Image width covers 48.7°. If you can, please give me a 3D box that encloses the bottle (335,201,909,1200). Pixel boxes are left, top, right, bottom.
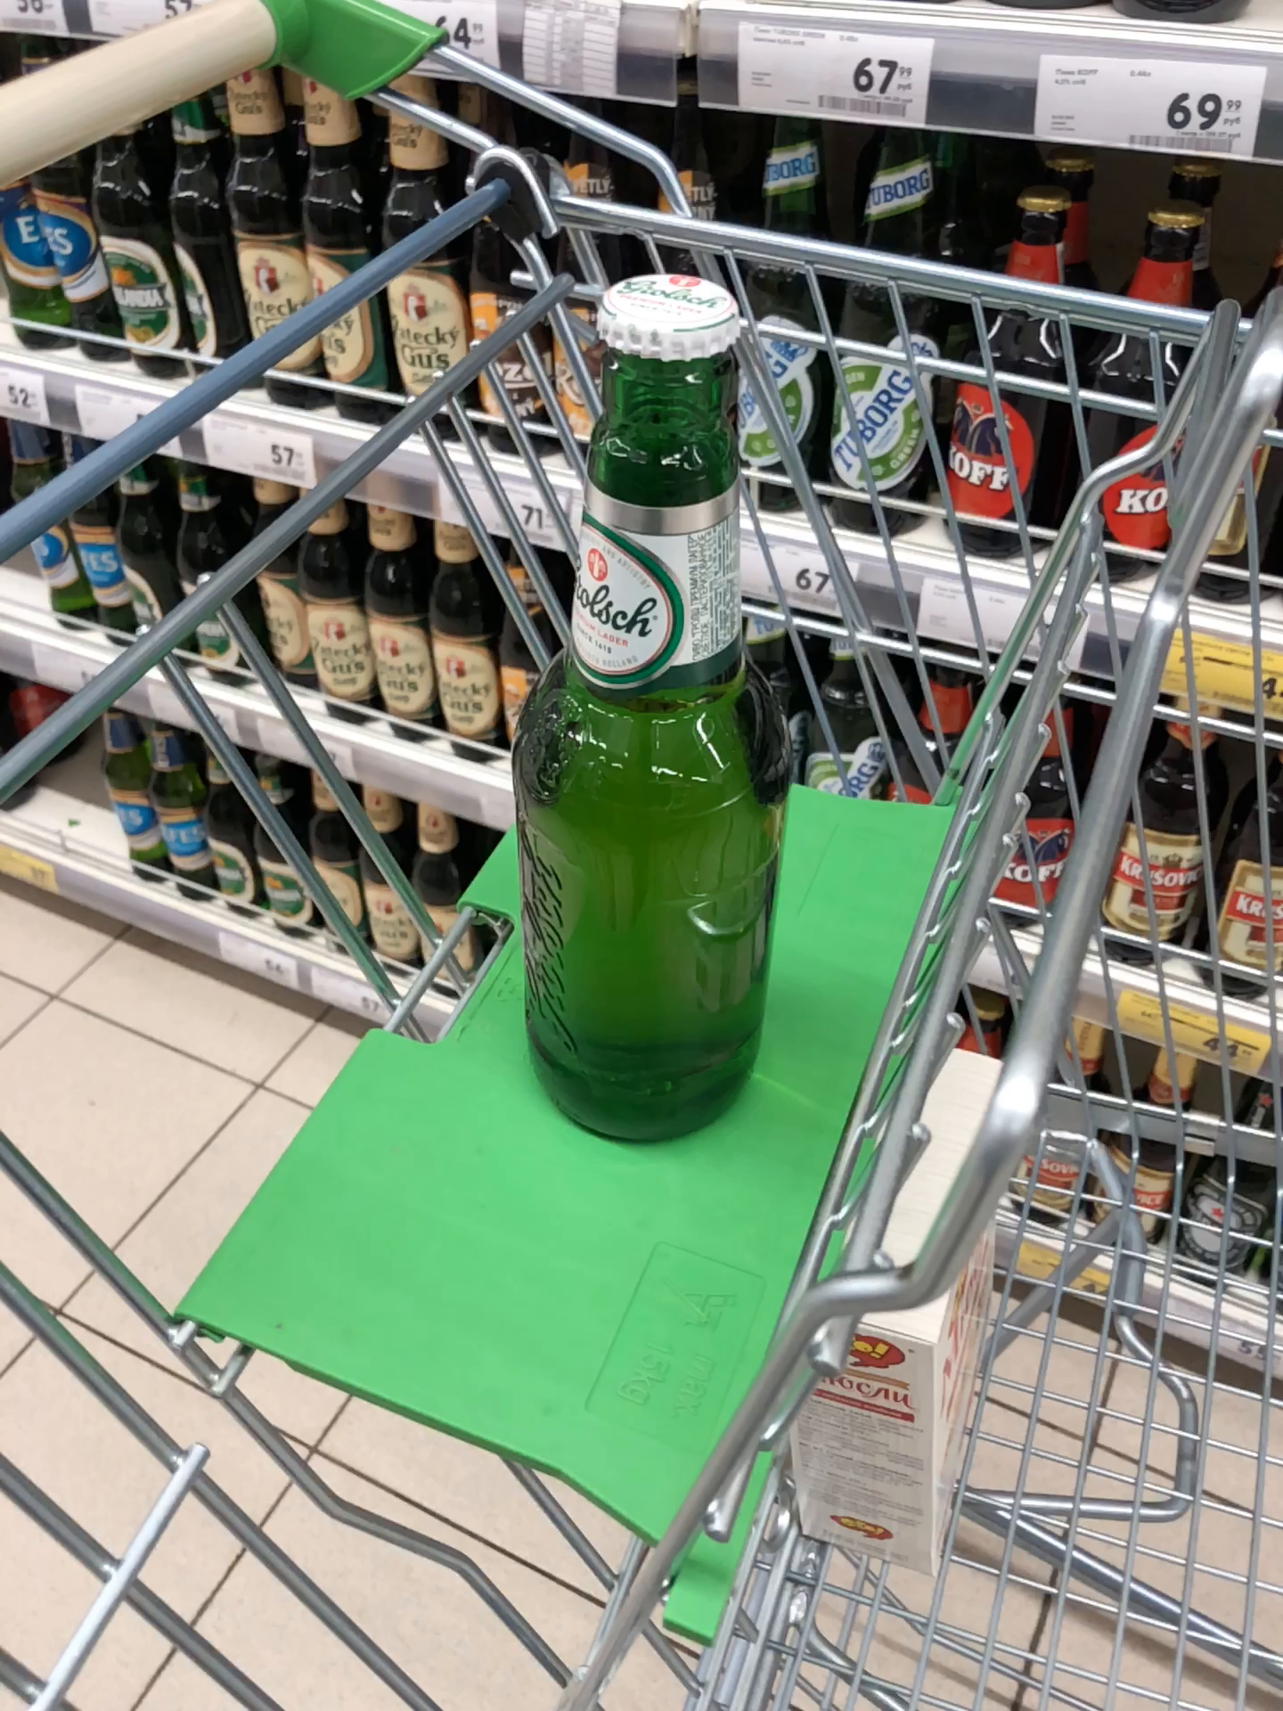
[{"bbox_3d":[-0.002,-0.028,0.349,0.080,0.219,0.080,-1,41,1],"label":"bottle"}]
